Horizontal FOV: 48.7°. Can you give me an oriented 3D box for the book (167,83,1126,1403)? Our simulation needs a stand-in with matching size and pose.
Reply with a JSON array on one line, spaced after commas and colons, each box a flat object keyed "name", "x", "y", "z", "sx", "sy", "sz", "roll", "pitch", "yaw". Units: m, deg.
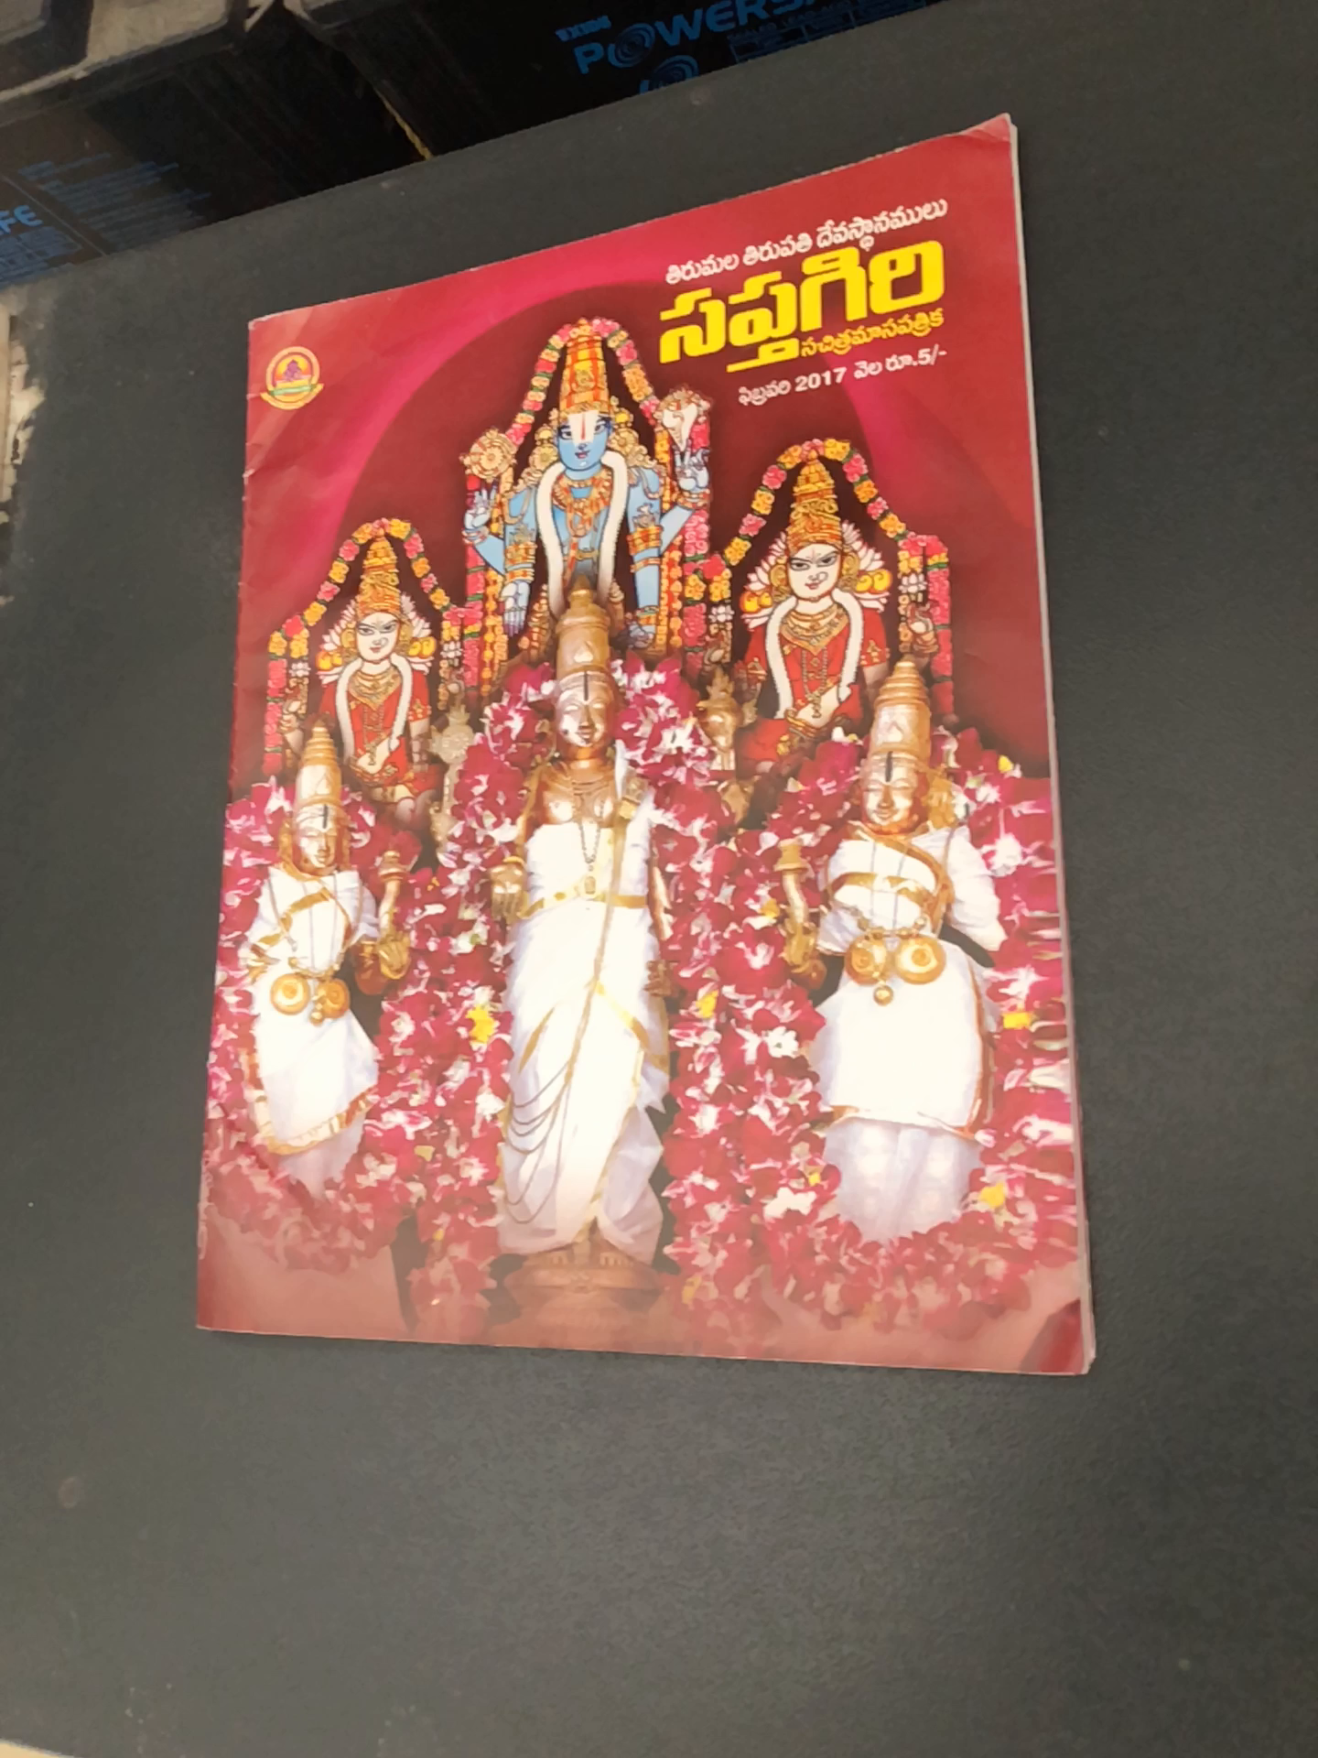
[{"name": "book", "x": -0.011, "y": -0.027, "z": 0.326, "sx": 0.200, "sy": 0.030, "sz": 0.260, "roll": -5, "pitch": 76, "yaw": 23}]
